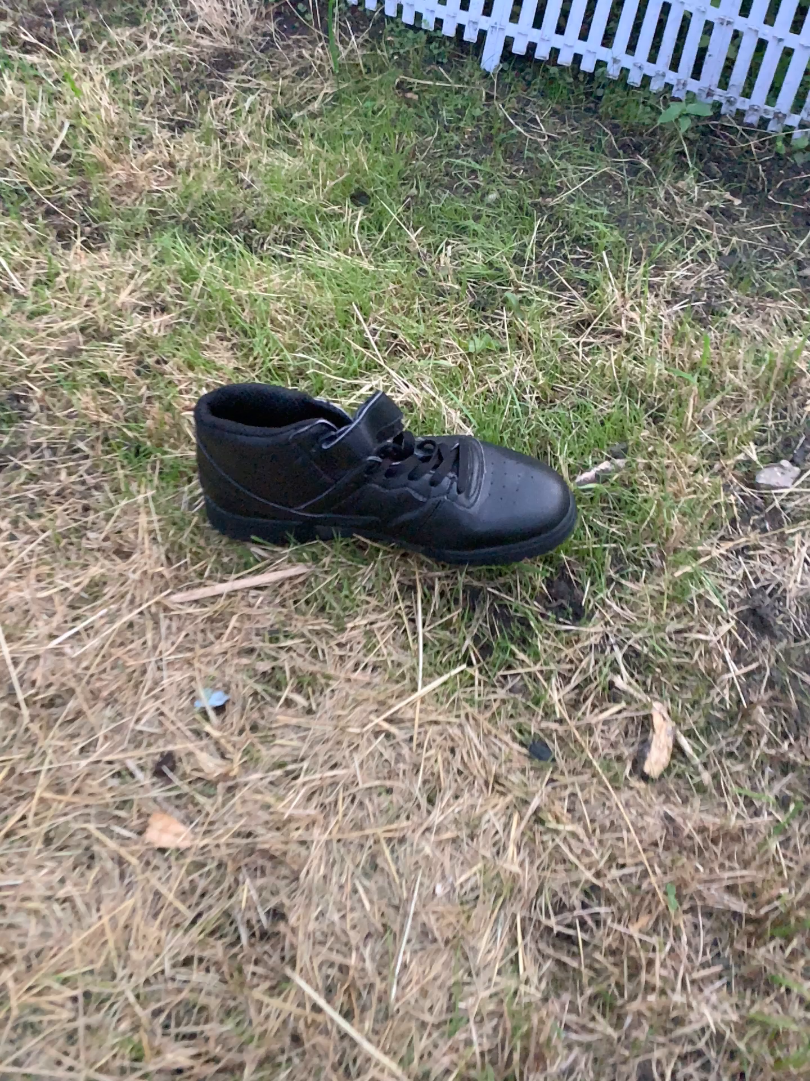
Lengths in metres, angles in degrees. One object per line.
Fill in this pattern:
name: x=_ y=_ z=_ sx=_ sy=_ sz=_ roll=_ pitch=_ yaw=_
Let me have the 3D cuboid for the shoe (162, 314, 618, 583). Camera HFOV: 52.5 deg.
shoe: x=-0.008 y=-0.061 z=0.565 sx=0.270 sy=0.119 sz=0.111 roll=5 pitch=53 yaw=0
